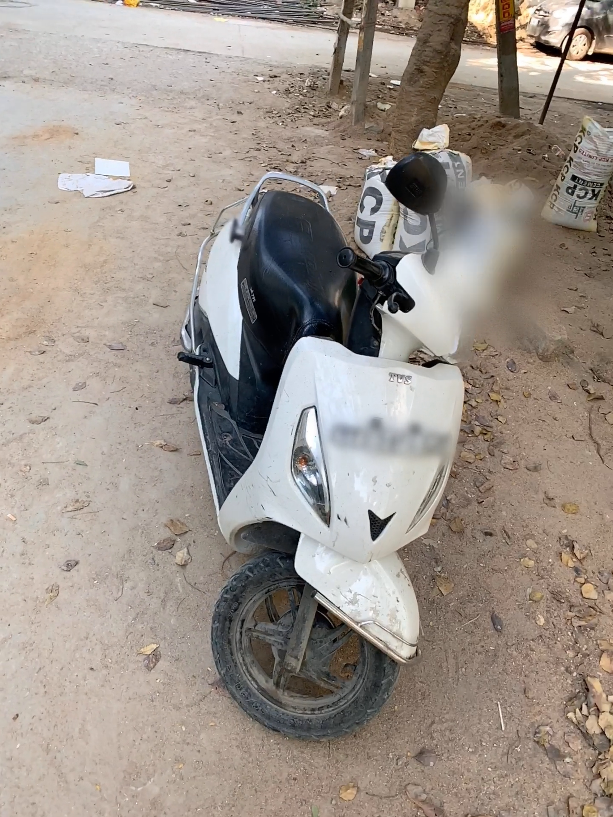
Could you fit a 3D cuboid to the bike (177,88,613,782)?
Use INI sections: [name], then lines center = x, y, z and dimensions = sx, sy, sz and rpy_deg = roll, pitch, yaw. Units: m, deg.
[bike]
center = 0.127, -0.064, 1.726
dimensions = 0.686, 1.066, 1.465
rpy_deg = -6, 41, -20
